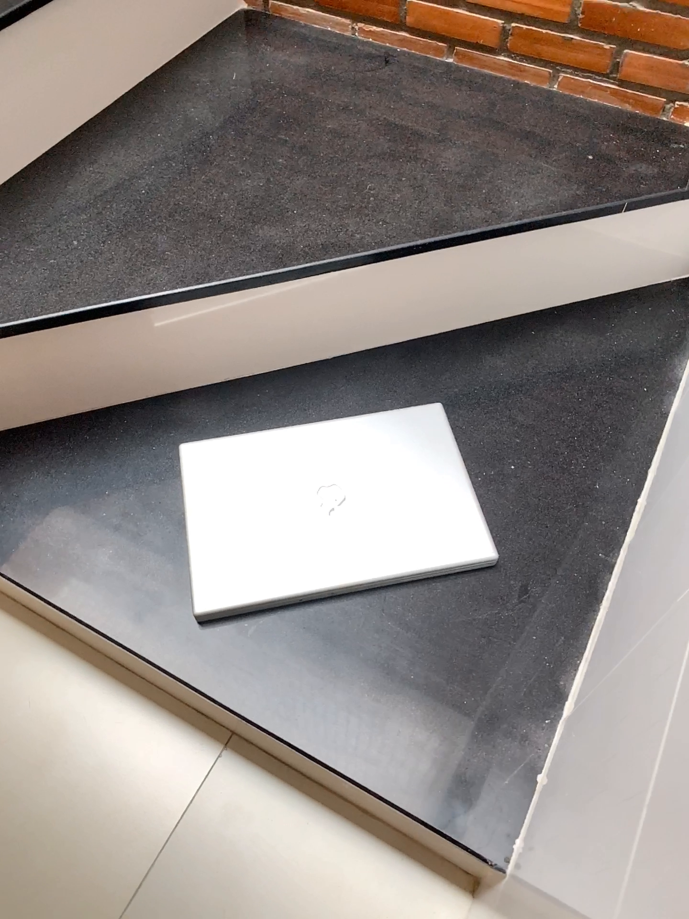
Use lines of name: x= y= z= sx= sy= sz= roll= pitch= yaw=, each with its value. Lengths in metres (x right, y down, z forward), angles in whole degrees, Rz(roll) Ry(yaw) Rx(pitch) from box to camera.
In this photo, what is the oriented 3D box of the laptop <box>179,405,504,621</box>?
laptop: x=-0.016 y=0.067 z=1.085 sx=0.440 sy=0.013 sz=0.292 roll=-10 pitch=58 yaw=-8
